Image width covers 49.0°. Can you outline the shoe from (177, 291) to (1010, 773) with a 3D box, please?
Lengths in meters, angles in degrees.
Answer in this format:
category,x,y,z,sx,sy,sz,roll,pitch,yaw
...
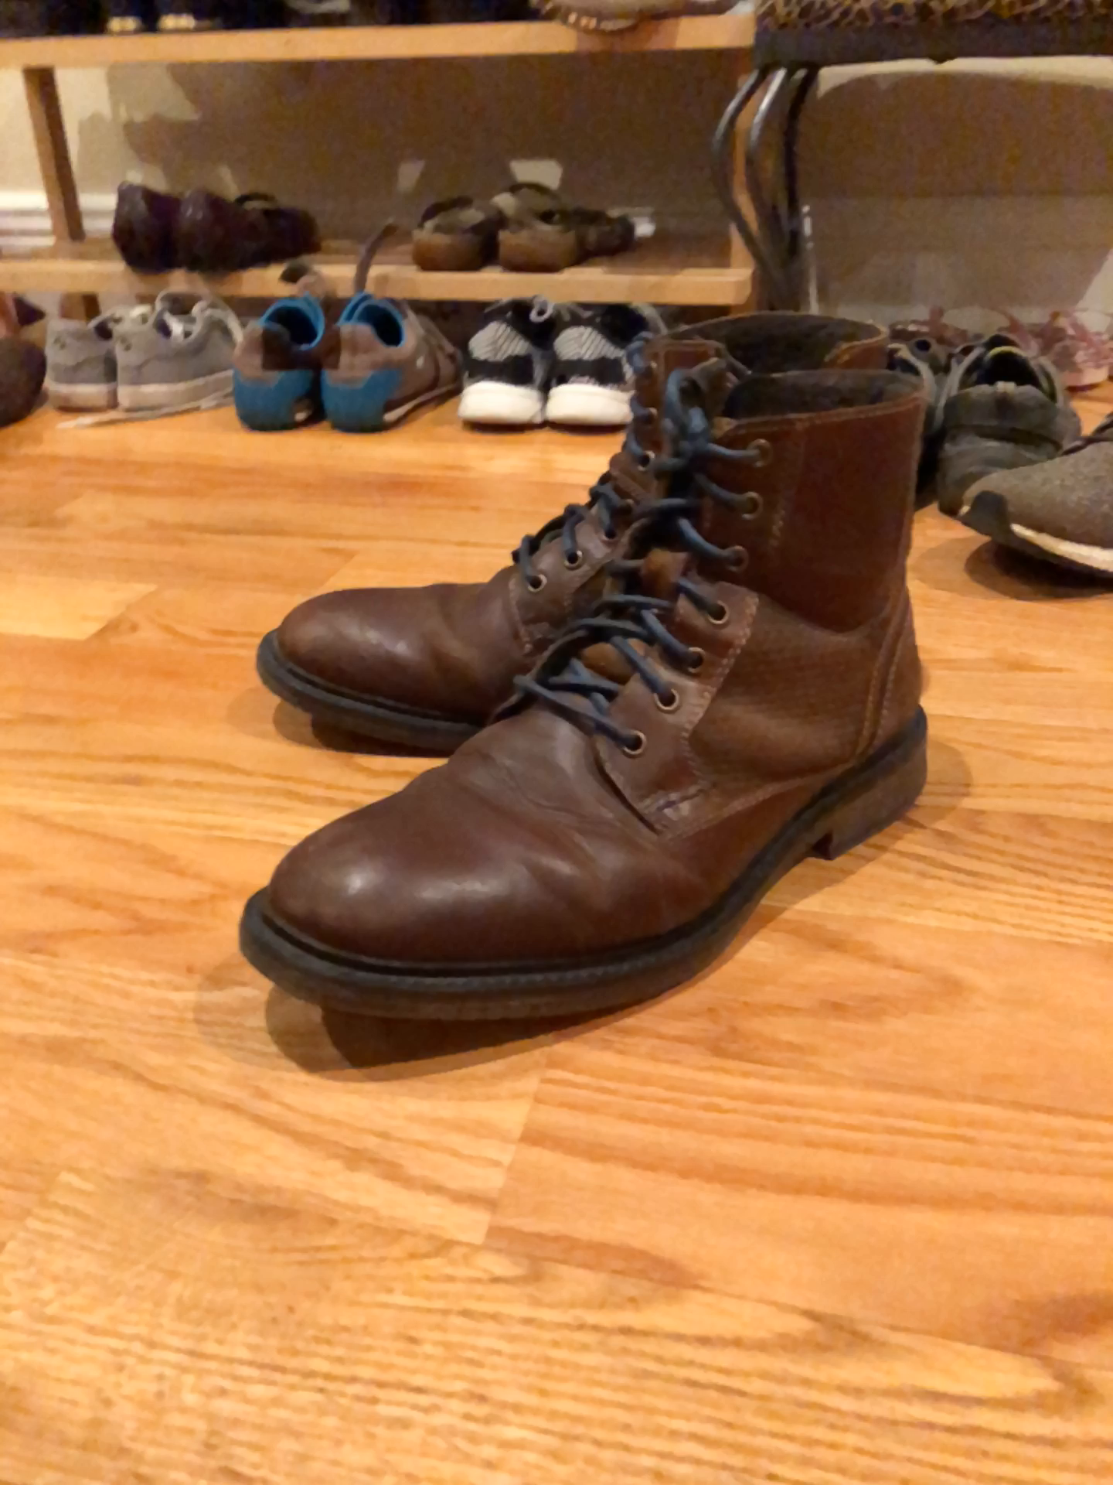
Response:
category,x,y,z,sx,sy,sz,roll,pitch,yaw
shoe,0.015,-0.097,0.542,0.310,0.167,0.114,-3,28,-3

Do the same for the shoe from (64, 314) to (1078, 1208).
category,x,y,z,sx,sy,sz,roll,pitch,yaw
shoe,0.025,-0.026,0.416,0.304,0.176,0.128,-24,36,-35
